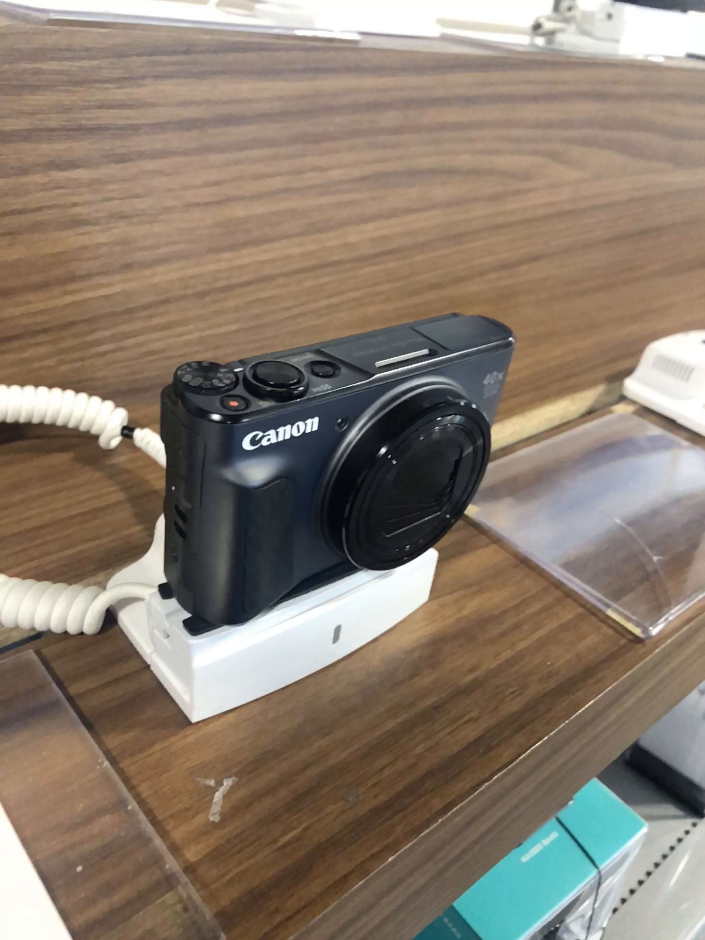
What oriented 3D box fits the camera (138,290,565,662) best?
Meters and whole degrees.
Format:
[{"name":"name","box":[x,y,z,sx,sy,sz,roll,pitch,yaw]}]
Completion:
[{"name":"camera","box":[0.001,-0.005,0.212,0.110,0.063,0.037,-20,44,-37]}]
